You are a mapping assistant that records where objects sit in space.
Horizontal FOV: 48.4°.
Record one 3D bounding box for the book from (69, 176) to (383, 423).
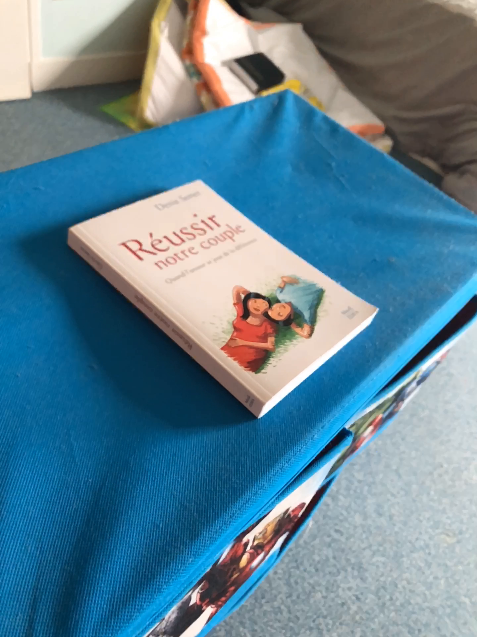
[{"bbox_3d":[-0.007,-0.029,0.381,0.186,0.016,0.135,41,48,20],"label":"book"}]
